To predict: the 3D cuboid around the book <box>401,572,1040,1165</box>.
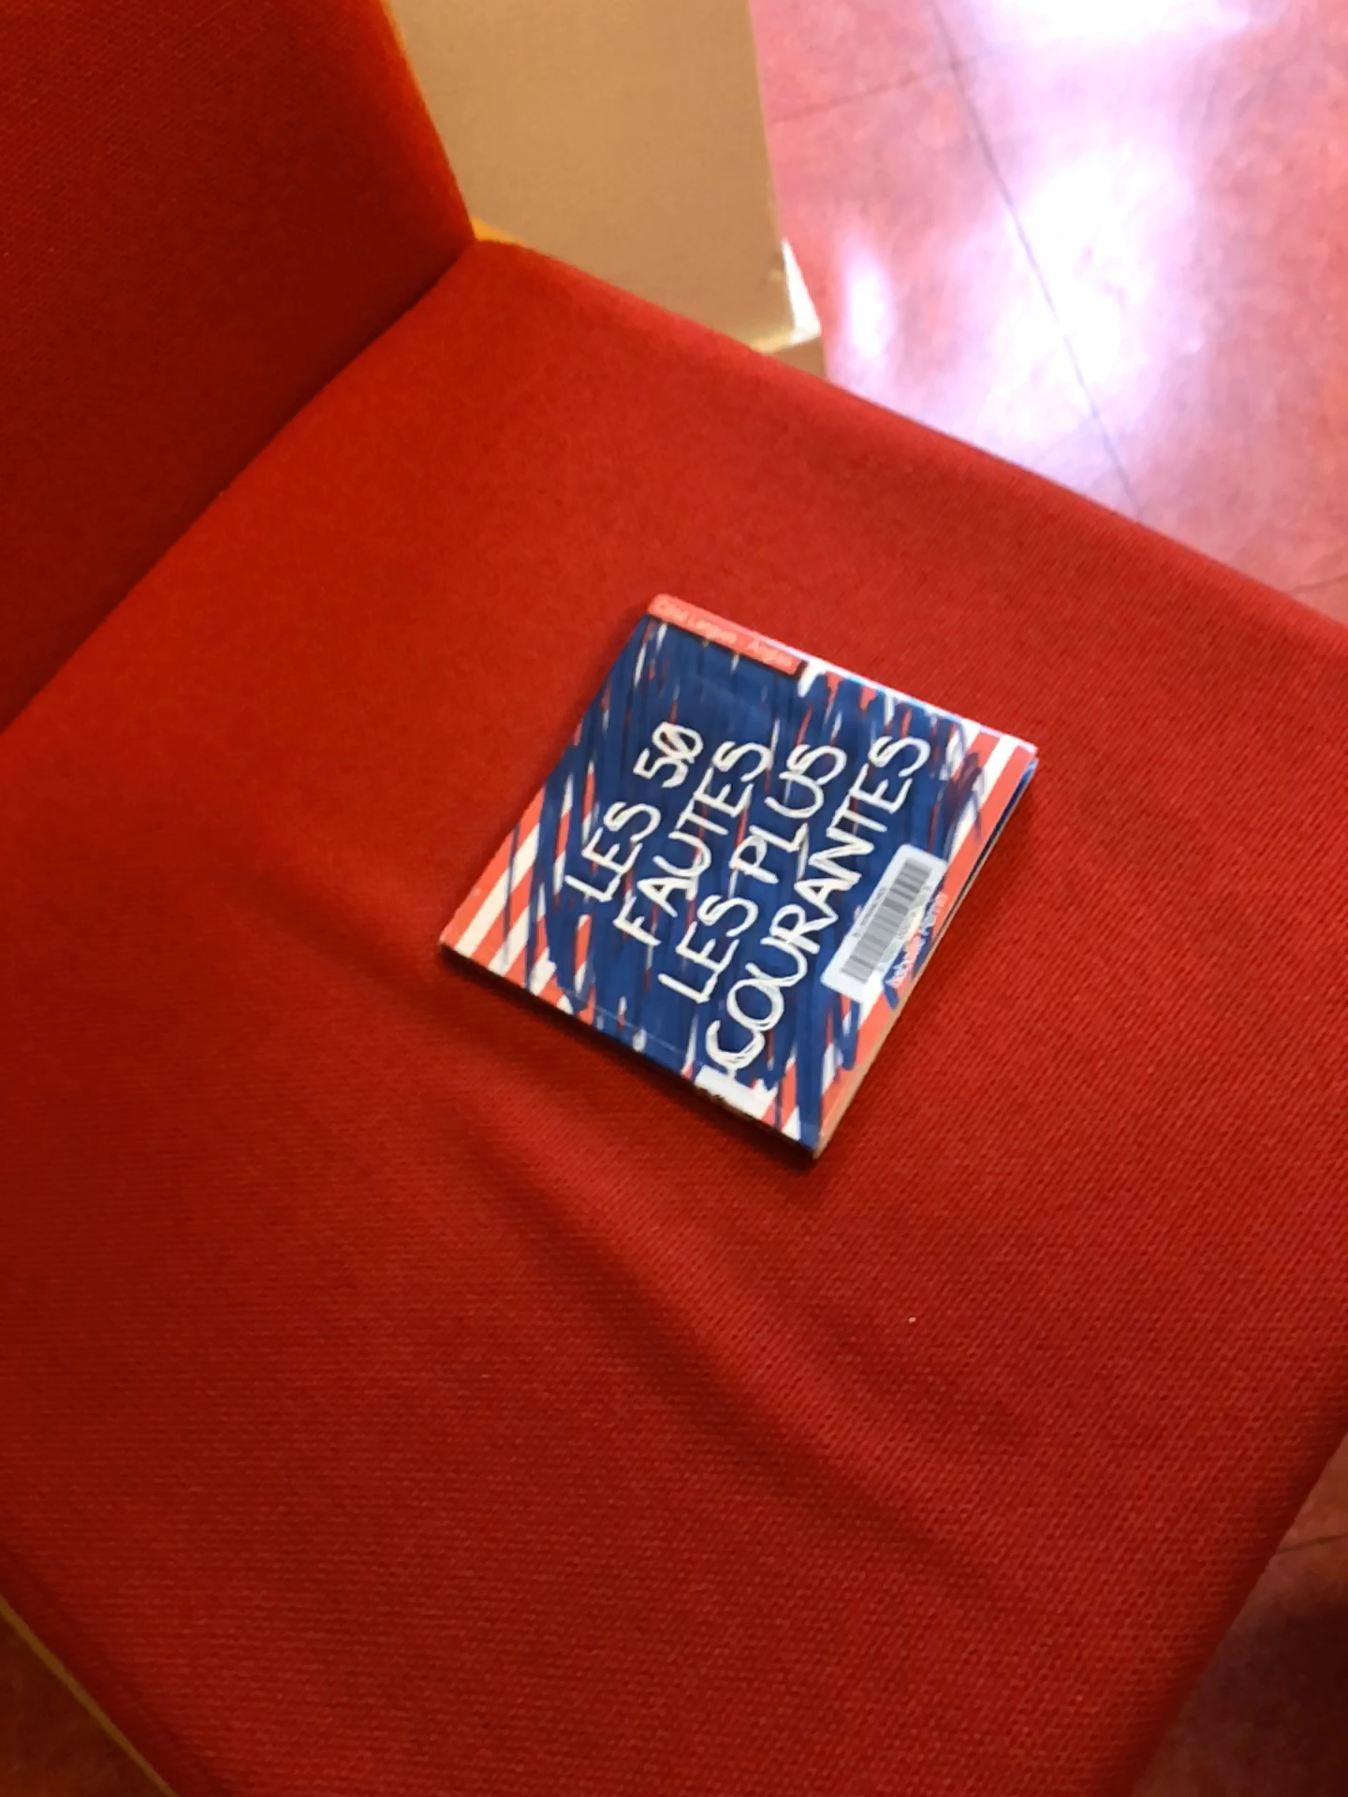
[{"bbox_3d":[0.014,-0.017,0.475,0.148,0.020,0.148,27,75,24],"label":"book"}]
